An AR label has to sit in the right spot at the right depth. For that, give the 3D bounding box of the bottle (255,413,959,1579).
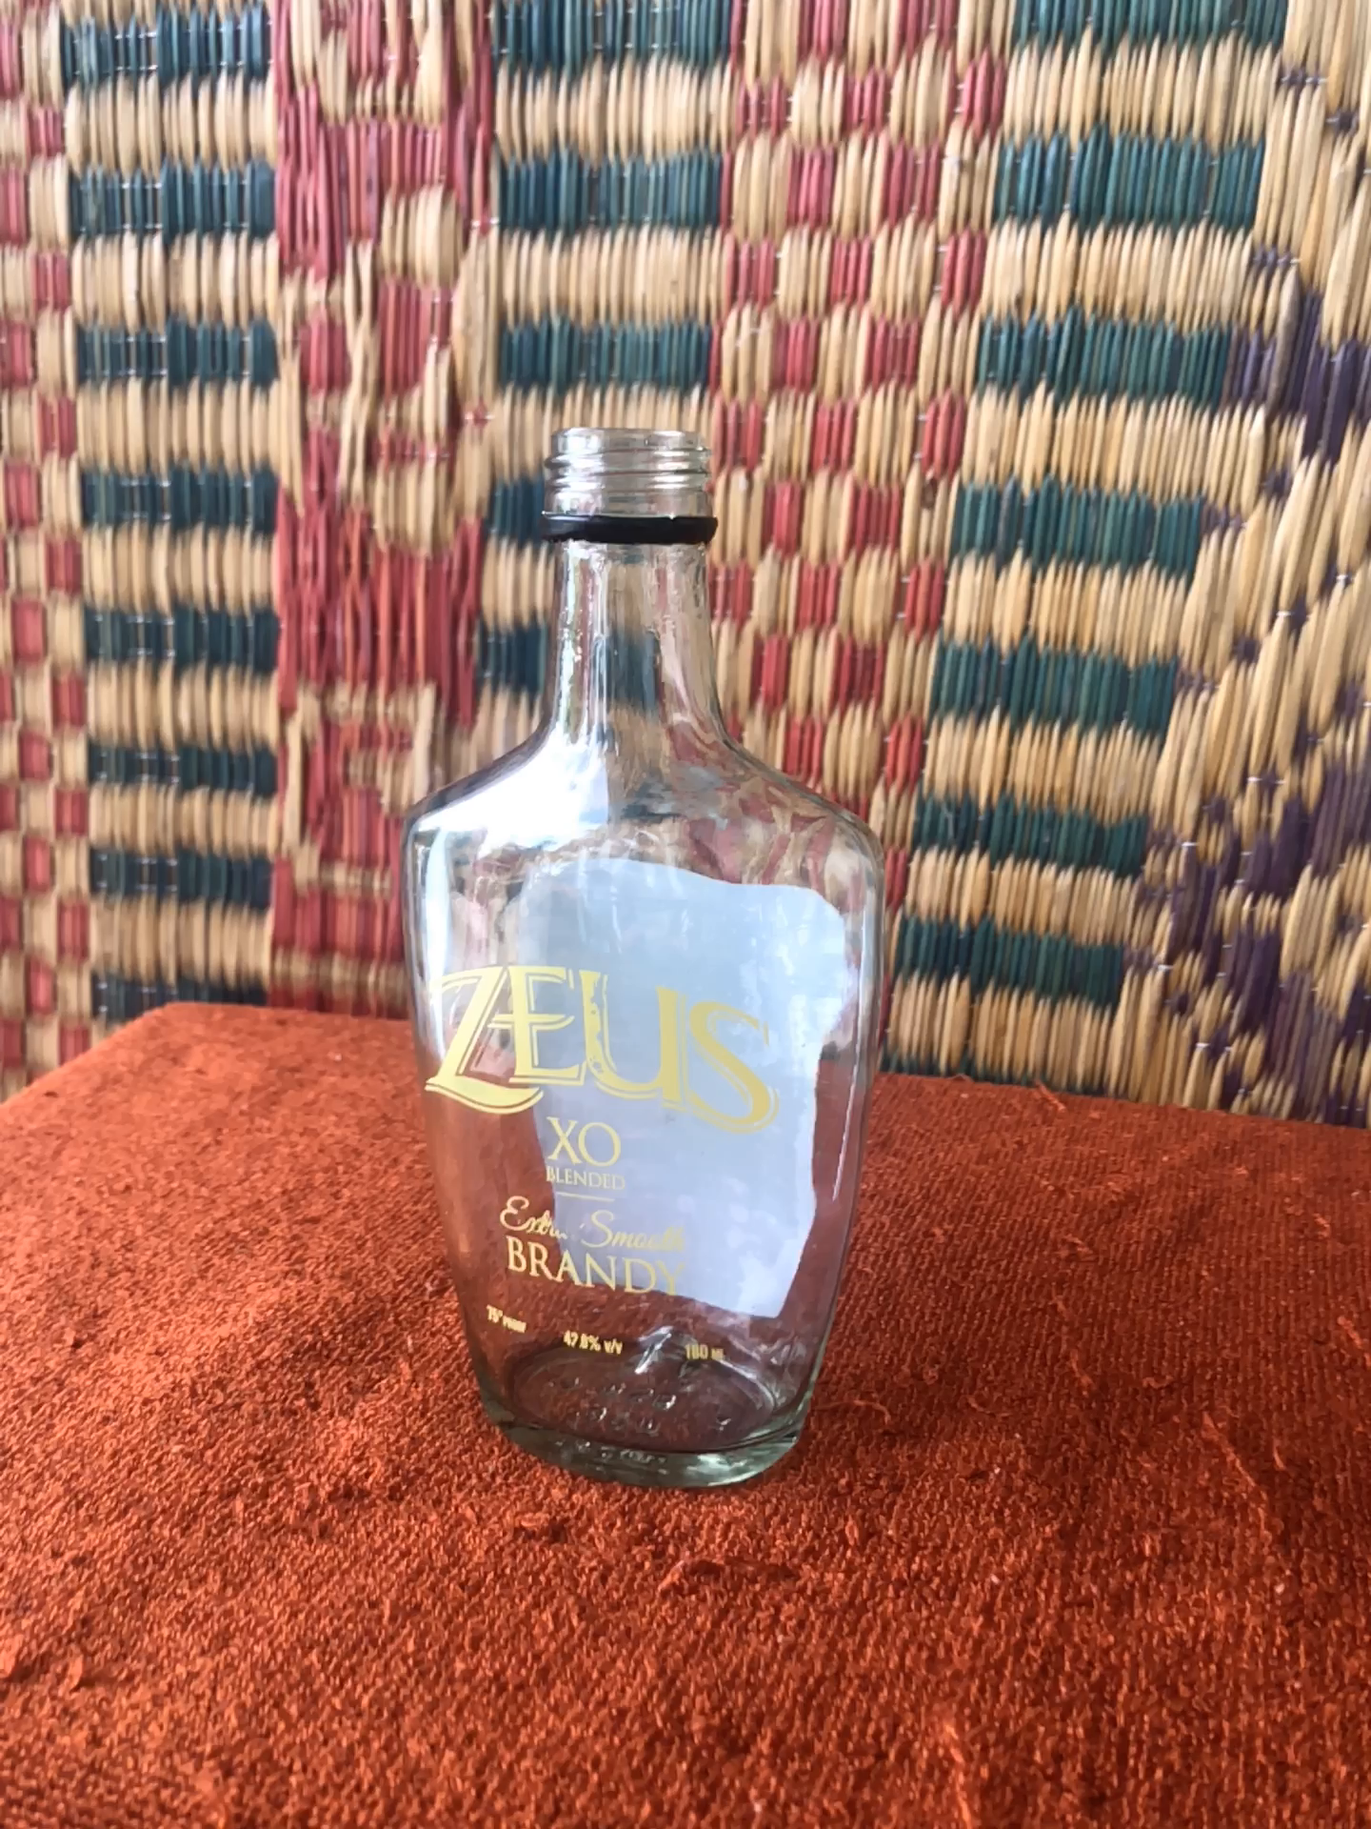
[{"bbox_3d":[-0.011,0.008,0.218,0.080,0.149,0.040,8,19,20],"label":"bottle"}]
